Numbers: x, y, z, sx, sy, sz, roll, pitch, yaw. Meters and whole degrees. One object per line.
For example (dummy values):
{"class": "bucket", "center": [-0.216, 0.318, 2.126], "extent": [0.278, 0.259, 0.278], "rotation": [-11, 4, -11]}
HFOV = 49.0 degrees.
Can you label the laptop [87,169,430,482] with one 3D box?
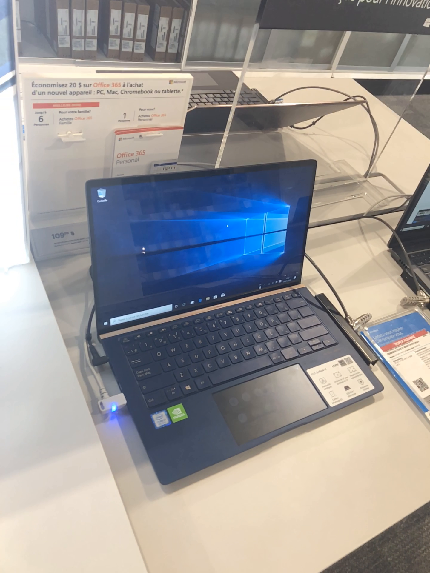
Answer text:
{"class": "laptop", "center": [0.047, 0.017, 0.548], "extent": [0.309, 0.179, 0.253], "rotation": [-13, 50, -29]}
